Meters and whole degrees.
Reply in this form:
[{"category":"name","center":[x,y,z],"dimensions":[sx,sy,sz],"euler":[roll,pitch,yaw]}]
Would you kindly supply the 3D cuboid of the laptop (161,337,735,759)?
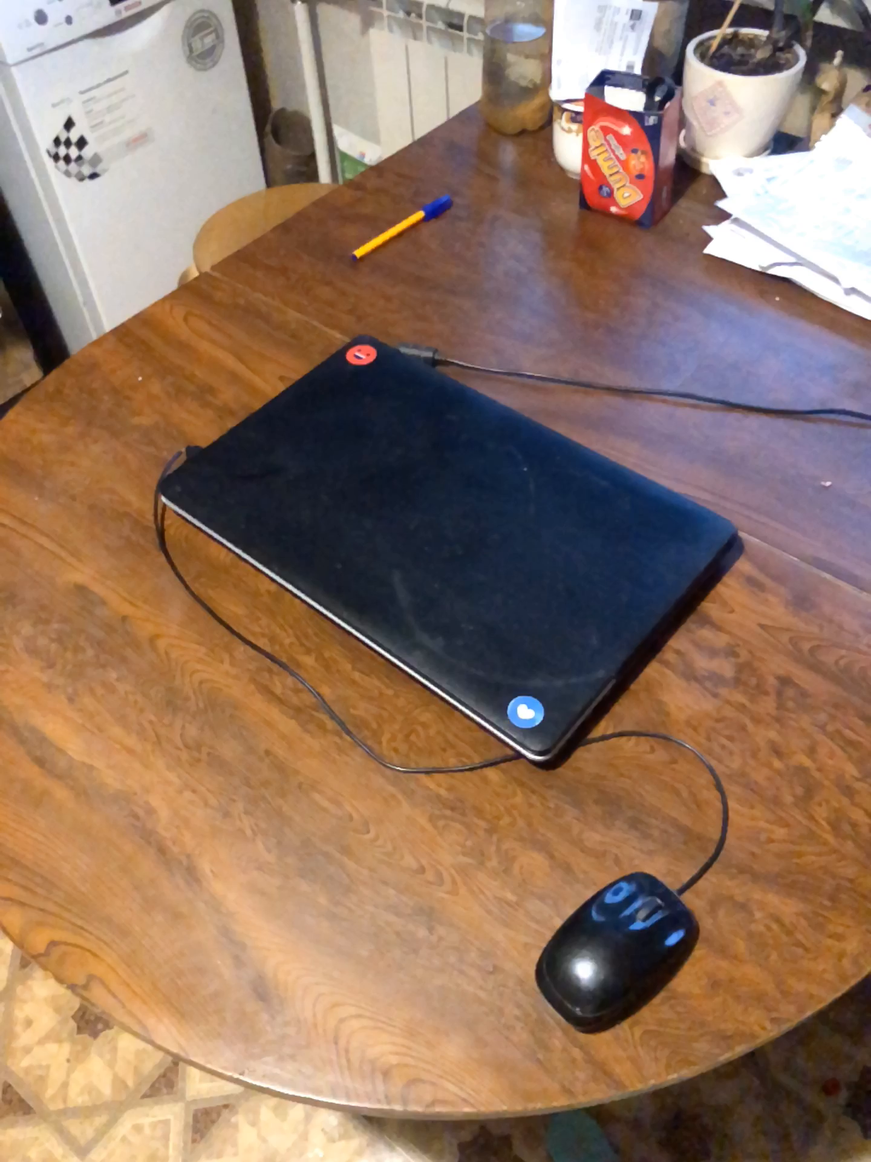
[{"category":"laptop","center":[0.003,-0.053,0.731],"dimensions":[0.366,0.007,0.239],"euler":[33,61,24]}]
